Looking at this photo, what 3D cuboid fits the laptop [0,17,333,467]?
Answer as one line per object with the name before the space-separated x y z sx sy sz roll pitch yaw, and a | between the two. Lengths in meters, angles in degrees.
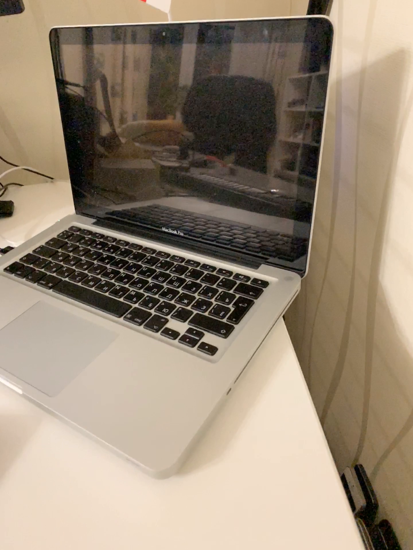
laptop | -0.093 -0.072 0.351 0.301 0.196 0.250 16 42 29
